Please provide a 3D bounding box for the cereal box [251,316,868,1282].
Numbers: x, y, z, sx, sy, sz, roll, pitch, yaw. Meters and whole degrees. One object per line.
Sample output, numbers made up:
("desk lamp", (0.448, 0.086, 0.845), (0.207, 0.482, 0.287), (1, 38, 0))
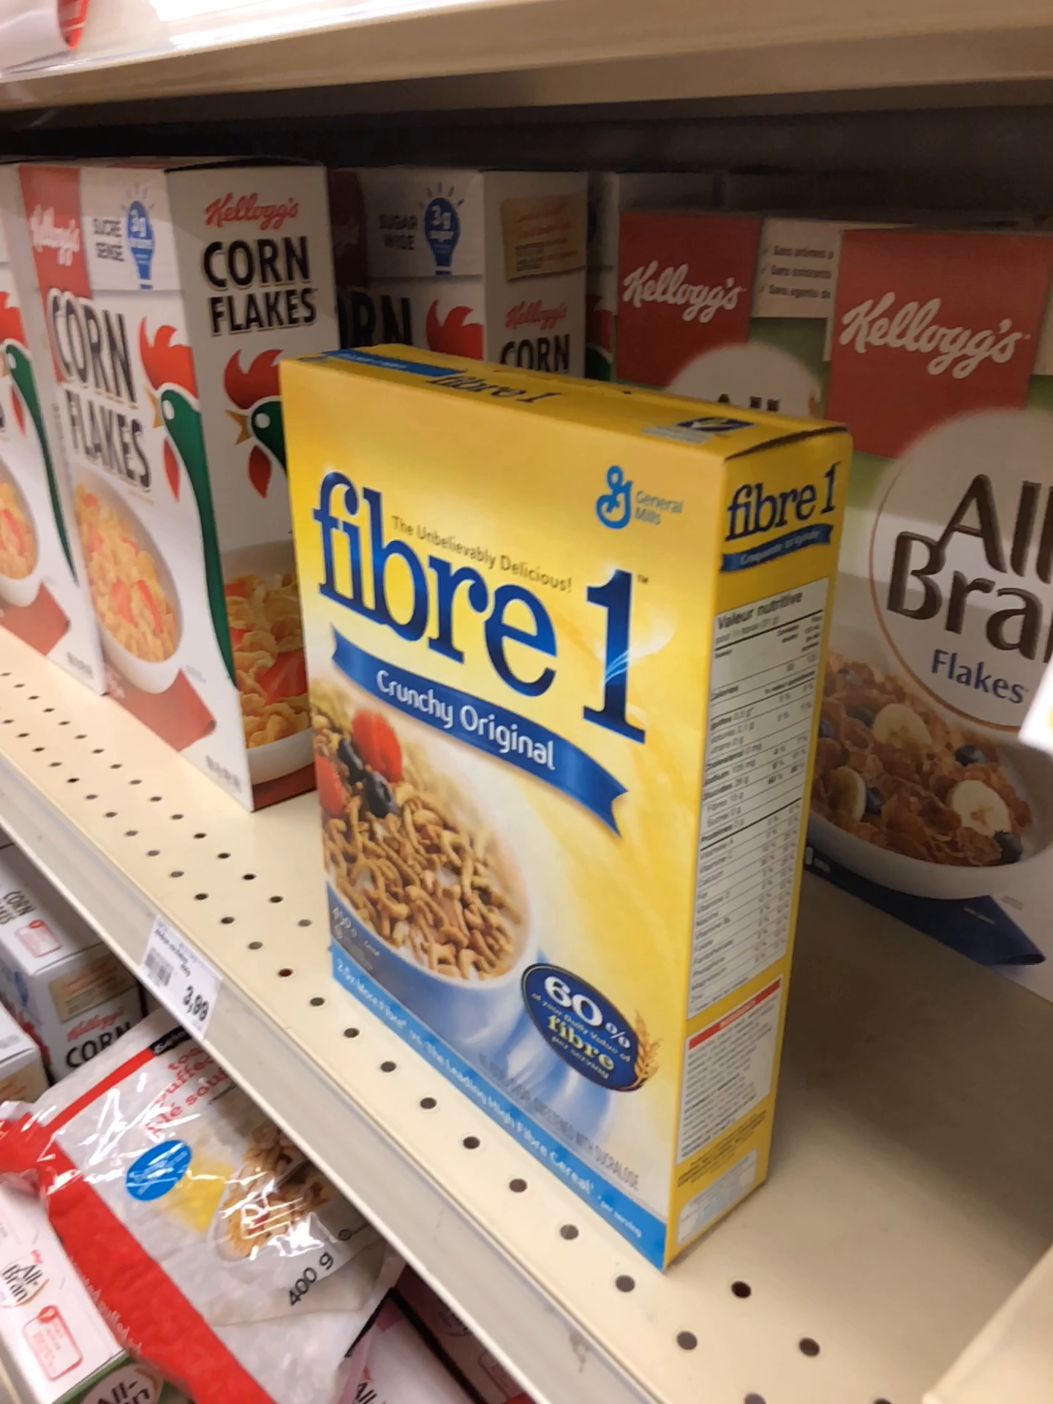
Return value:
("cereal box", (-0.004, 0.019, 0.402), (0.060, 0.268, 0.211), (-20, 31, -35))
